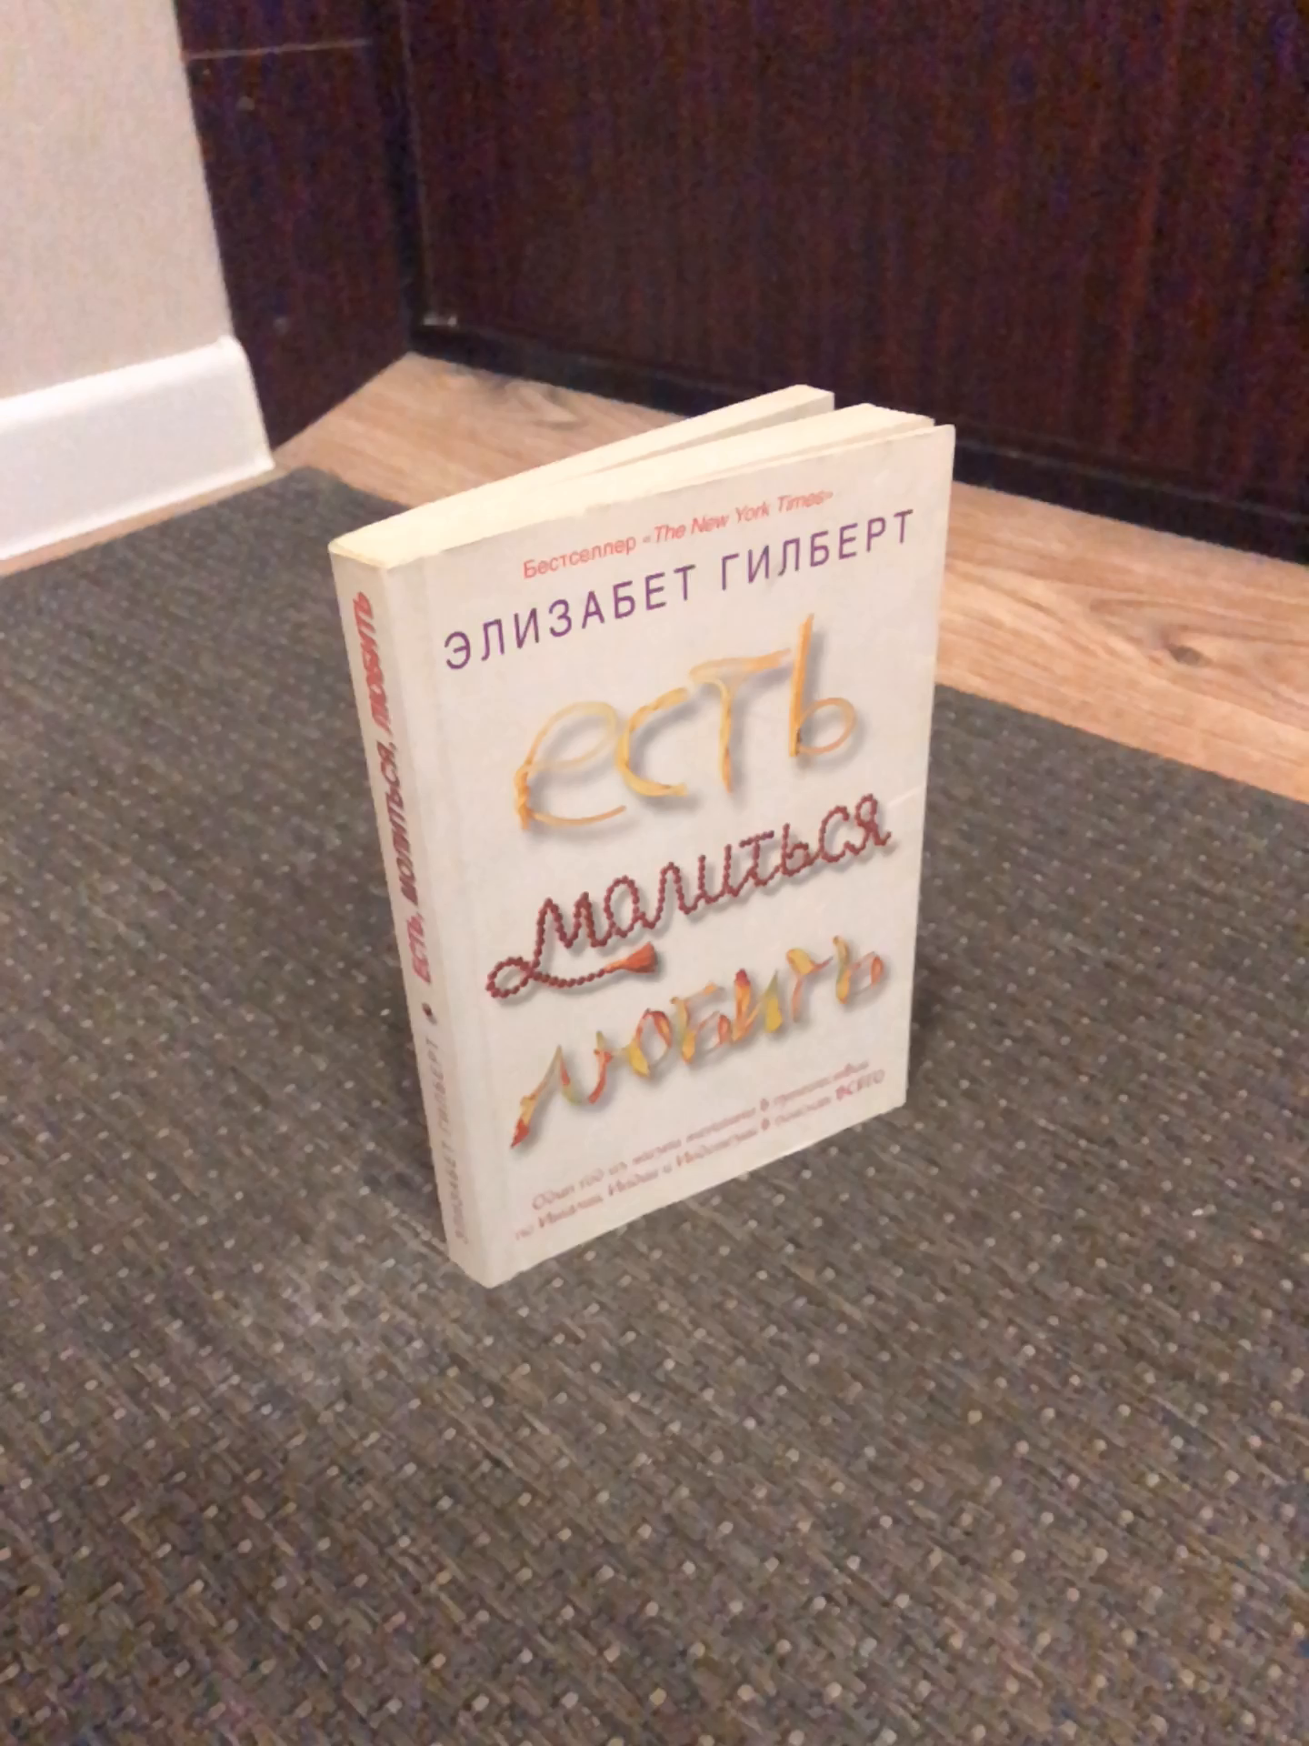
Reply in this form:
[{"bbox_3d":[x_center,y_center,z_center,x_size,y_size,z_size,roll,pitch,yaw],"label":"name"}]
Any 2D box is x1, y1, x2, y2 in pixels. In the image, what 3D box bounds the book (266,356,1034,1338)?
[{"bbox_3d":[0.003,-0.006,0.387,0.161,0.213,0.068,-22,41,-27],"label":"book"}]
